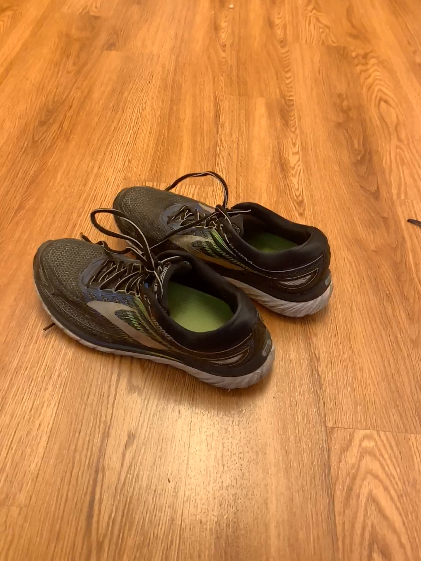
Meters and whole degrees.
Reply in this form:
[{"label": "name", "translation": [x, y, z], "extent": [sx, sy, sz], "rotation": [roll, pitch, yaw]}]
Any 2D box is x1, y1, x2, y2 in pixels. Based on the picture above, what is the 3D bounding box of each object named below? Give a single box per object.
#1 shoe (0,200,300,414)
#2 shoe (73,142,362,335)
[{"label": "shoe", "translation": [-0.075, 0.026, 0.511], "extent": [0.320, 0.109, 0.110], "rotation": [20, 54, 12]}, {"label": "shoe", "translation": [0.006, -0.063, 0.579], "extent": [0.340, 0.109, 0.120], "rotation": [20, 54, 12]}]
